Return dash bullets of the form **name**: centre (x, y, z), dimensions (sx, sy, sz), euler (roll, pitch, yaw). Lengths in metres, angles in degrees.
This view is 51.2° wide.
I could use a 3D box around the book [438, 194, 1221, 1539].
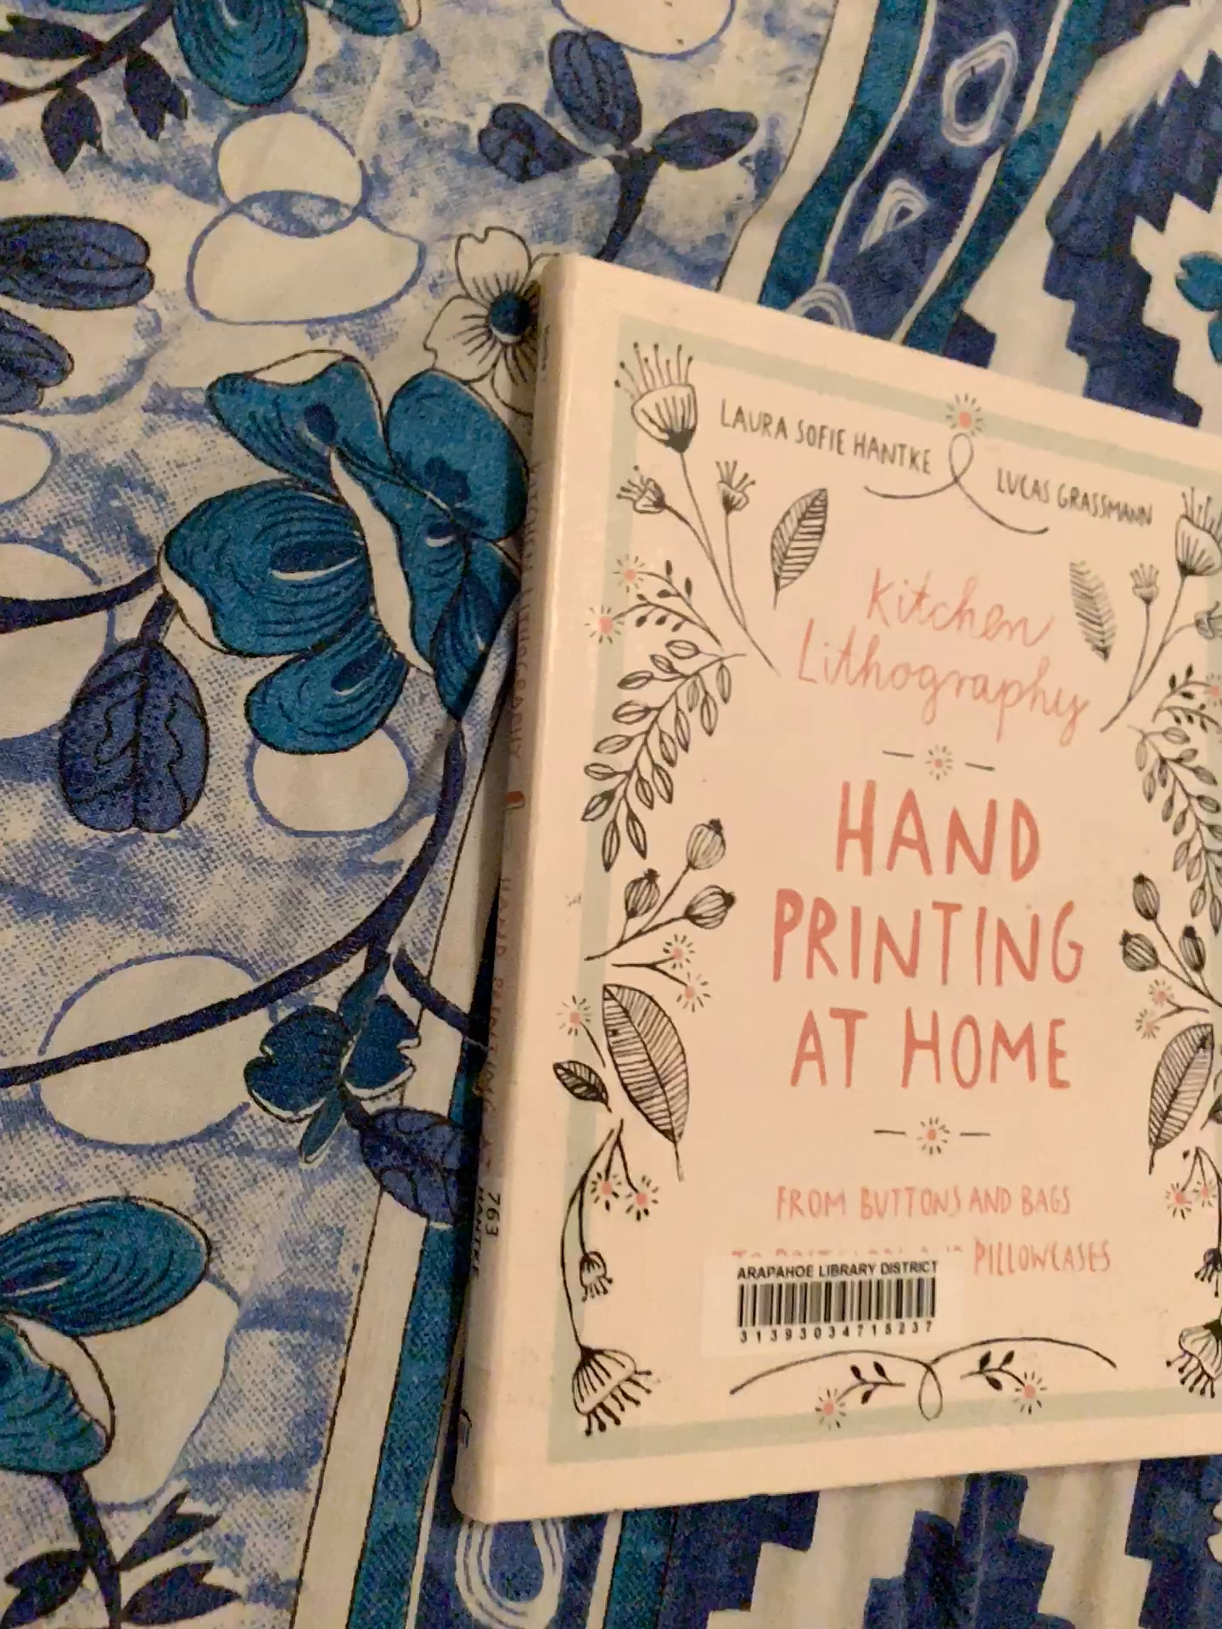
- **book**: centre (0.060, 0.010, 0.247), dimensions (0.170, 0.020, 0.220), euler (6, 81, -21)
